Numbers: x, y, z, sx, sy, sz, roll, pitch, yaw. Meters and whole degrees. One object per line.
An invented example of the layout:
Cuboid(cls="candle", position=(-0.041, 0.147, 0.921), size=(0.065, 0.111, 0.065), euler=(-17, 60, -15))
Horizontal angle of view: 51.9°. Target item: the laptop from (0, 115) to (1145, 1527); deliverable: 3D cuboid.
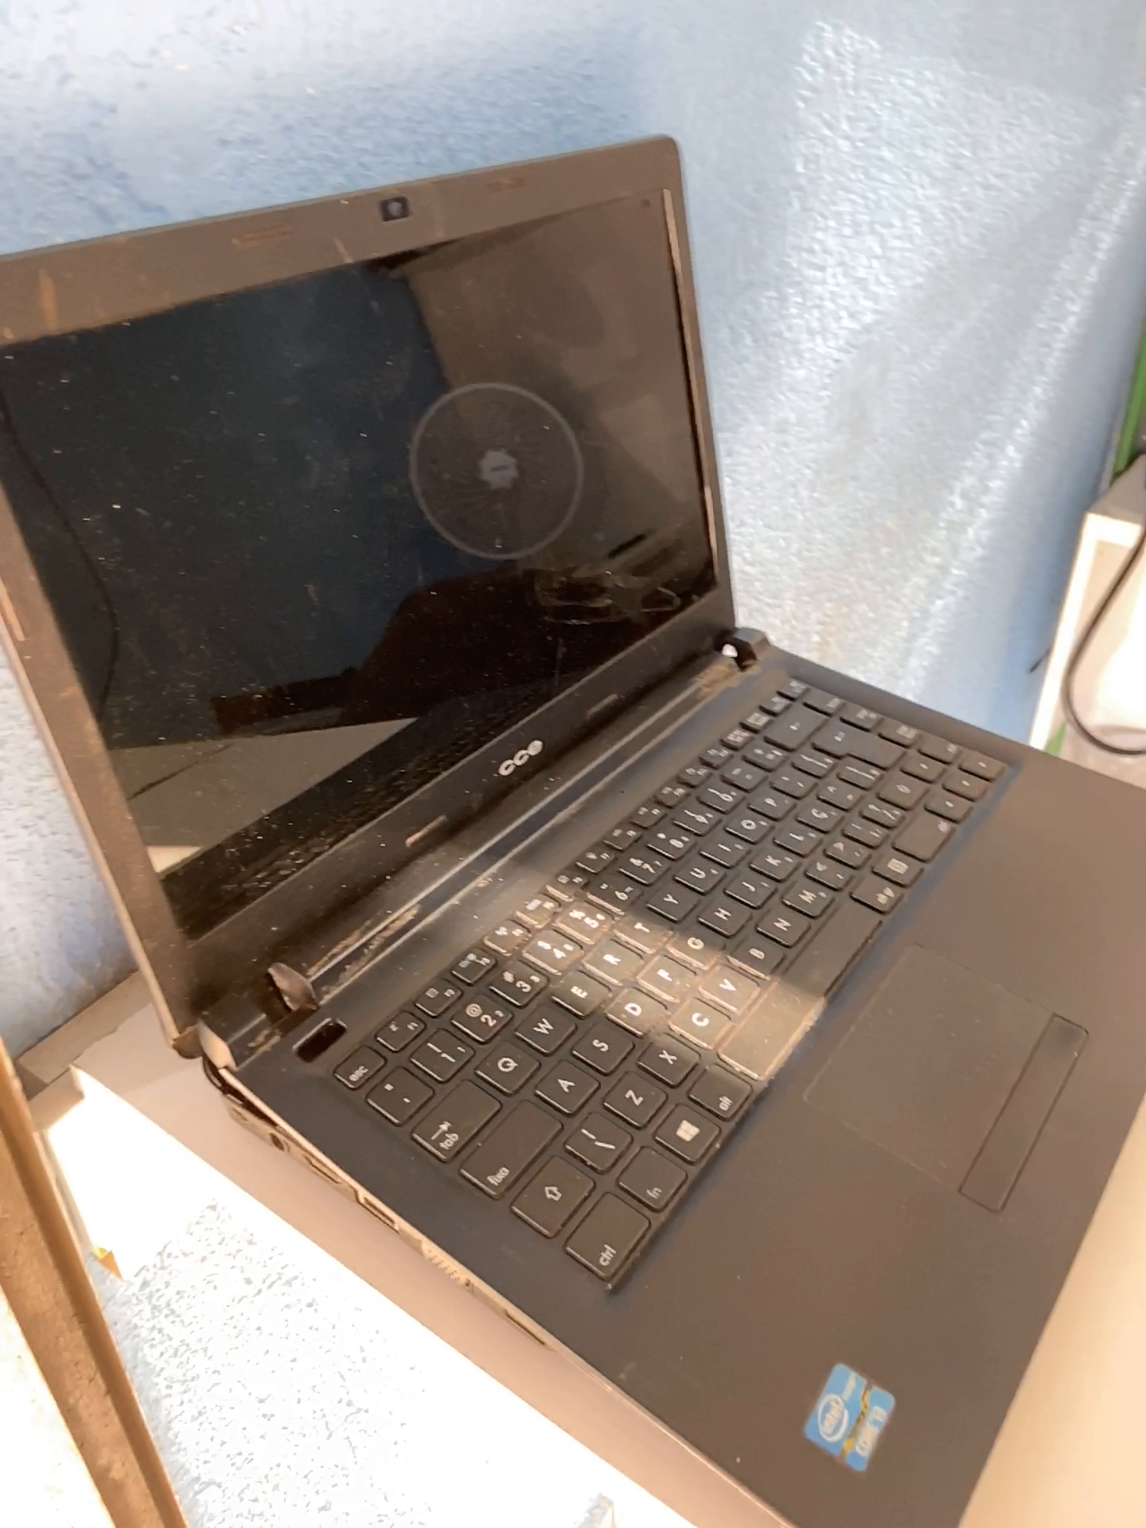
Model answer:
Cuboid(cls="laptop", position=(0.051, -0.050, 0.378), size=(0.312, 0.210, 0.334), euler=(25, 41, 28))
